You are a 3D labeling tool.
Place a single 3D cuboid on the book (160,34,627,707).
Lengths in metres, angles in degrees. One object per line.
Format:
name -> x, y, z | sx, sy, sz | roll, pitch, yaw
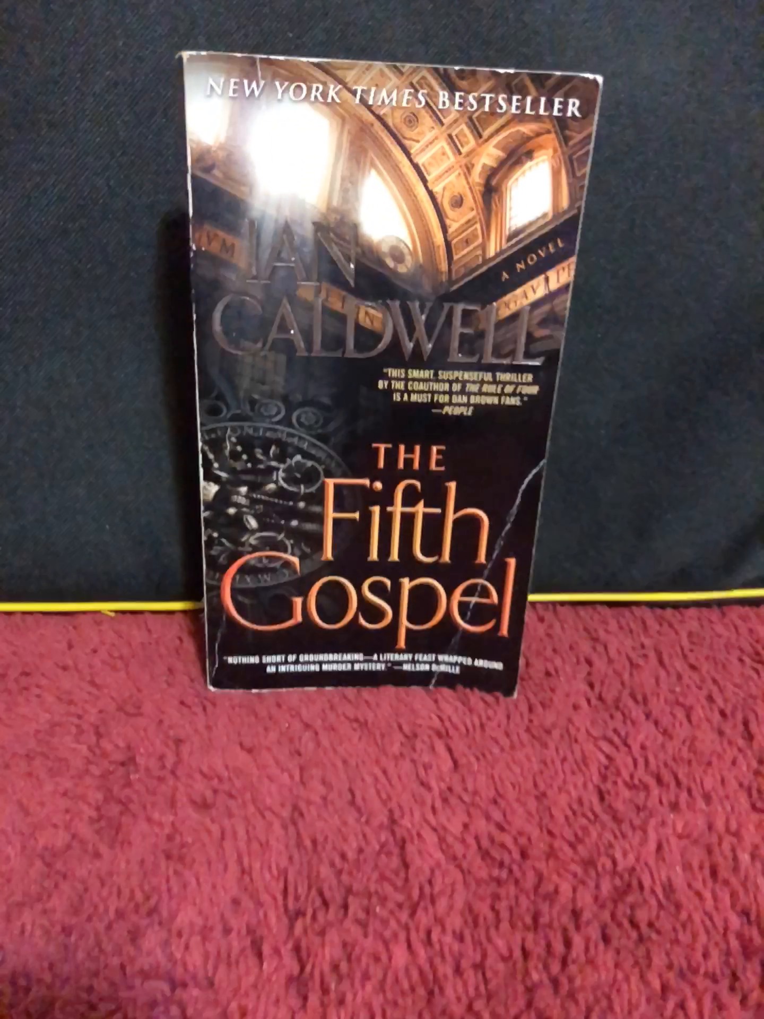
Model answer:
book -> -0.001, -0.037, 0.280 | 0.120, 0.199, 0.050 | 3, 22, 1
